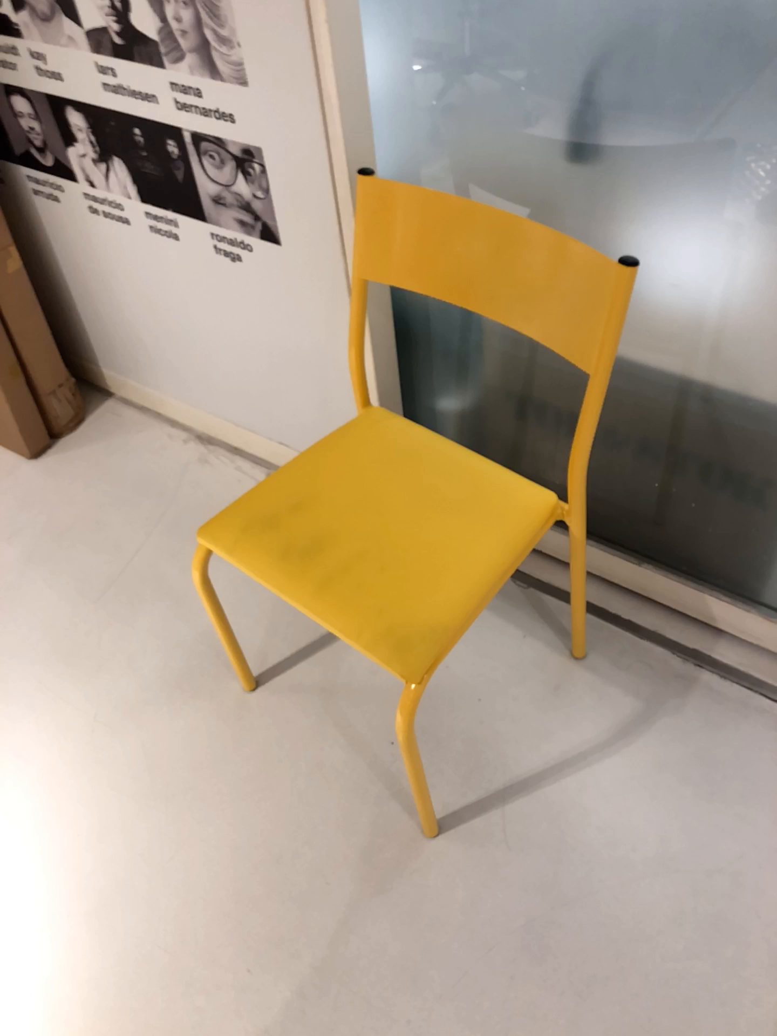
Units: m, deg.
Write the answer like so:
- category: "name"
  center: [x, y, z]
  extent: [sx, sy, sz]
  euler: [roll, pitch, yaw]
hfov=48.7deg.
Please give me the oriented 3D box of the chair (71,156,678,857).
- category: "chair"
  center: [0.022, 0.002, 1.290]
  extent: [0.491, 0.785, 0.522]
  euler: [30, 58, 29]
